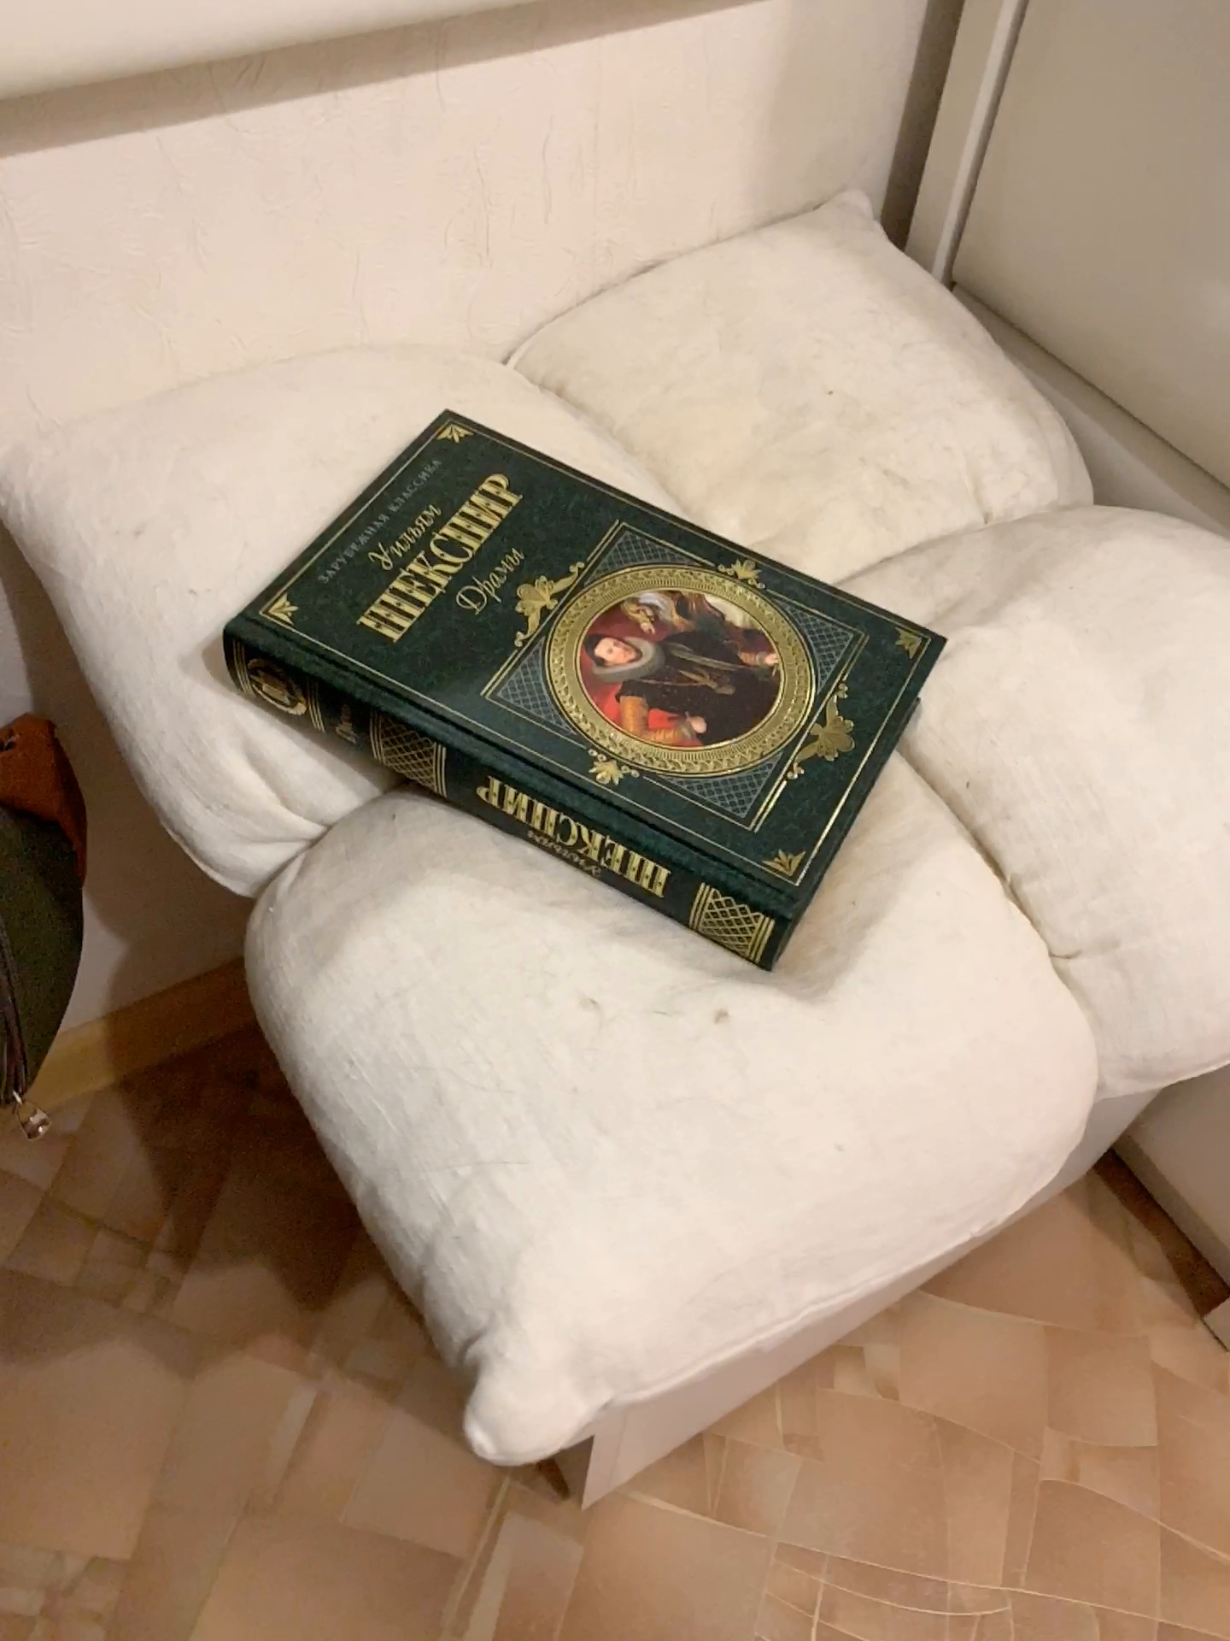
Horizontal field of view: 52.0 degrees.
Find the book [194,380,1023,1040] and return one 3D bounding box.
[{"bbox_3d":[0.002,-0.049,0.418,0.220,0.040,0.151,28,57,12],"label":"book"}]
